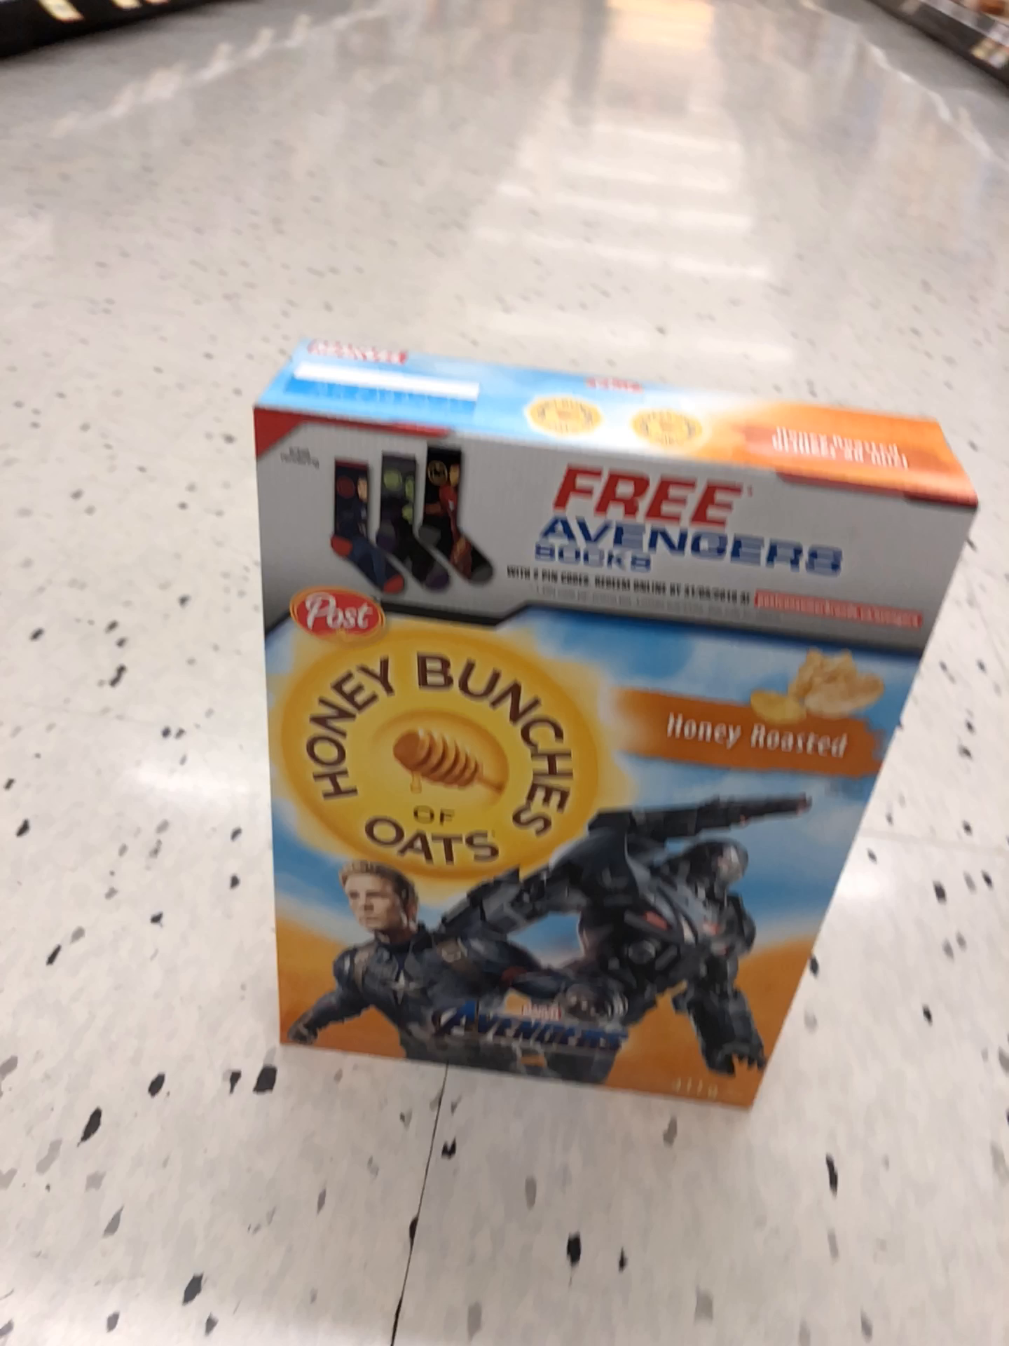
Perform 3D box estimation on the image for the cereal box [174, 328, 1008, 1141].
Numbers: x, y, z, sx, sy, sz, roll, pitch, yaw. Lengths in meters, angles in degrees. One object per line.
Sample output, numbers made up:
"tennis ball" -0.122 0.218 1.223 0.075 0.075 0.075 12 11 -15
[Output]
"cereal box" 0.016 0.038 0.365 0.210 0.258 0.060 7 35 1
